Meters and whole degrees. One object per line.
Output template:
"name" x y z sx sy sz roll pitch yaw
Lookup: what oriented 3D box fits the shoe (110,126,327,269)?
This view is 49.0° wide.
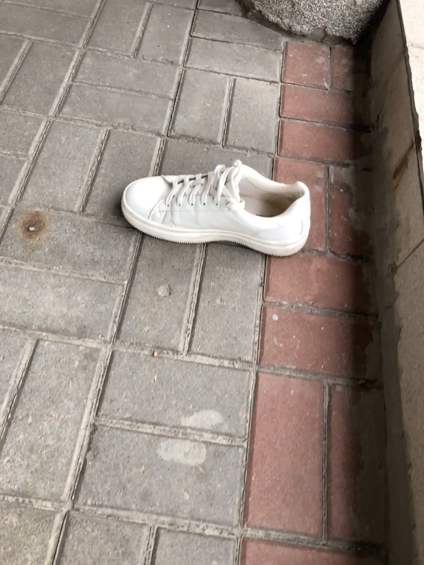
"shoe" 0.009 -0.122 0.697 0.292 0.119 0.111 10 62 -3
